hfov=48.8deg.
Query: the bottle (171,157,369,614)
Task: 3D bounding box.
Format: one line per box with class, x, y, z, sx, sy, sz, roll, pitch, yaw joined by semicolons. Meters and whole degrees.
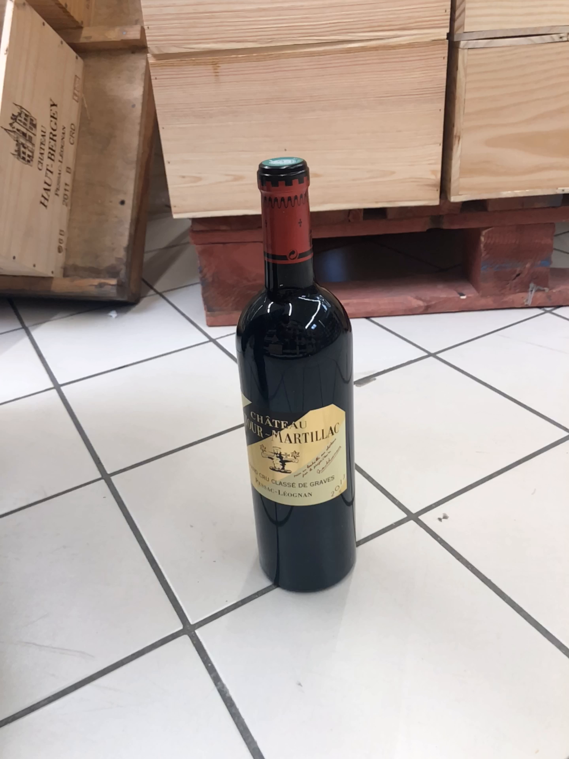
bottle;0.004;0.012;0.399;0.080;0.278;0.081;-3;30;2
